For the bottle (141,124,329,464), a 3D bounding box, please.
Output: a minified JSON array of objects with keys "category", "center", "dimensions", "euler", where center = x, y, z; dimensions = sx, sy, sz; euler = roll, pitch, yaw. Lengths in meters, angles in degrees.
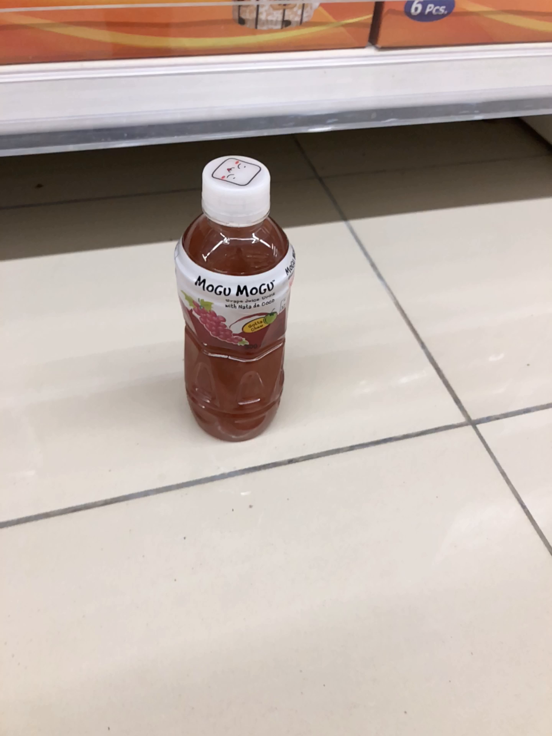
[{"category":"bottle","center":[-0.019,-0.029,0.317],"dimensions":[0.070,0.159,0.070],"euler":[3,47,-3]}]
